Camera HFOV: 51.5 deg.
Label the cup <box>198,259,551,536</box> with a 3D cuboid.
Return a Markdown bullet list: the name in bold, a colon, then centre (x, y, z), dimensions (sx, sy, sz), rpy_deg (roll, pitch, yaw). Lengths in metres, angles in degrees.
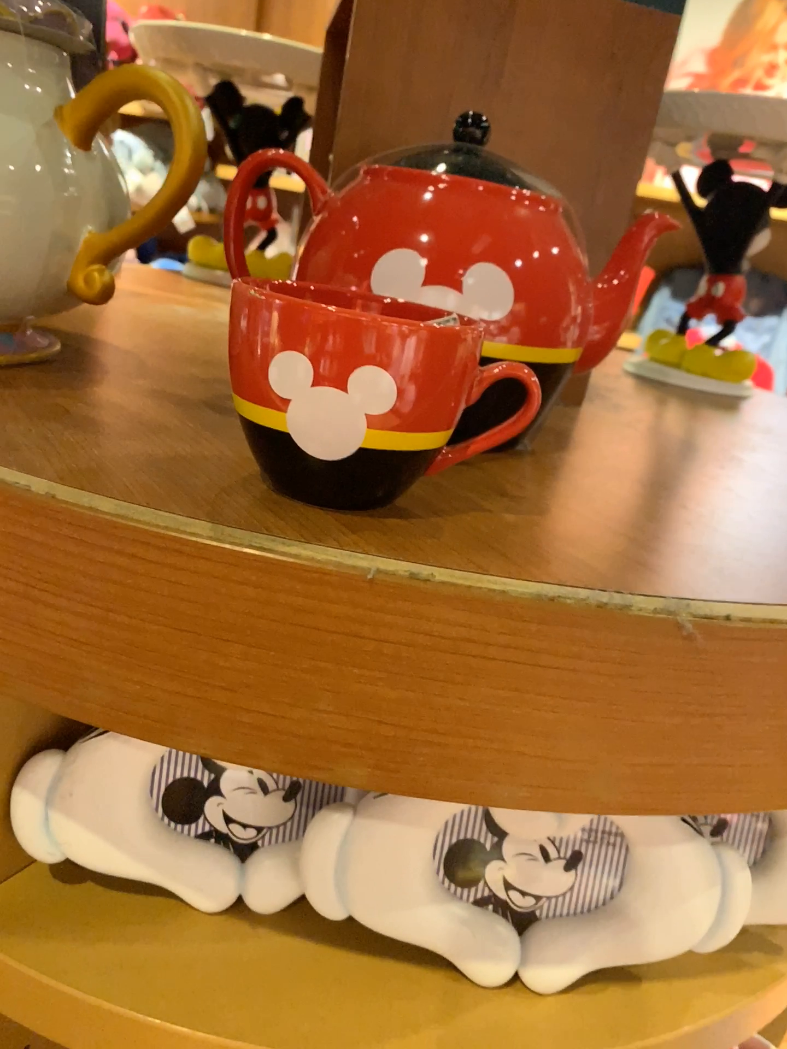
- **cup**: centre (-0.003, -0.050, 0.286), dimensions (0.100, 0.065, 0.078), rpy_deg (13, 19, 8)
